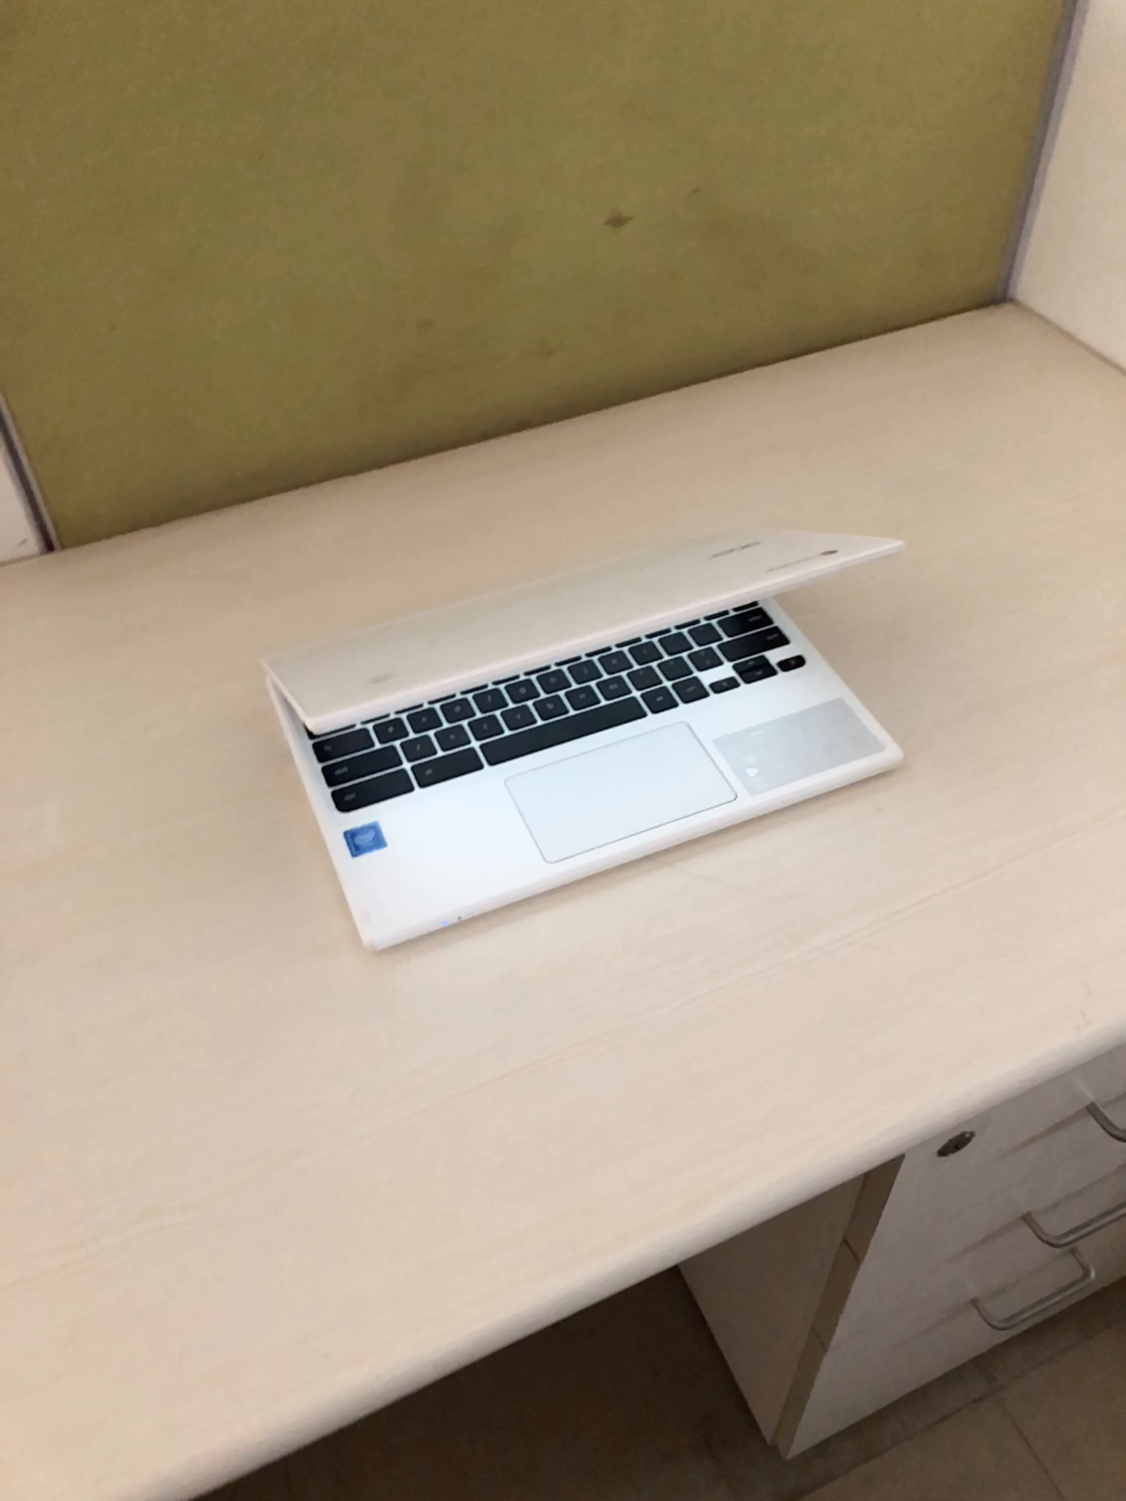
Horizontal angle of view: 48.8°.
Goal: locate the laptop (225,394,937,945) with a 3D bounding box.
[{"bbox_3d":[0.004,-0.056,0.638,0.290,0.105,0.197,-18,50,-16],"label":"laptop"}]
